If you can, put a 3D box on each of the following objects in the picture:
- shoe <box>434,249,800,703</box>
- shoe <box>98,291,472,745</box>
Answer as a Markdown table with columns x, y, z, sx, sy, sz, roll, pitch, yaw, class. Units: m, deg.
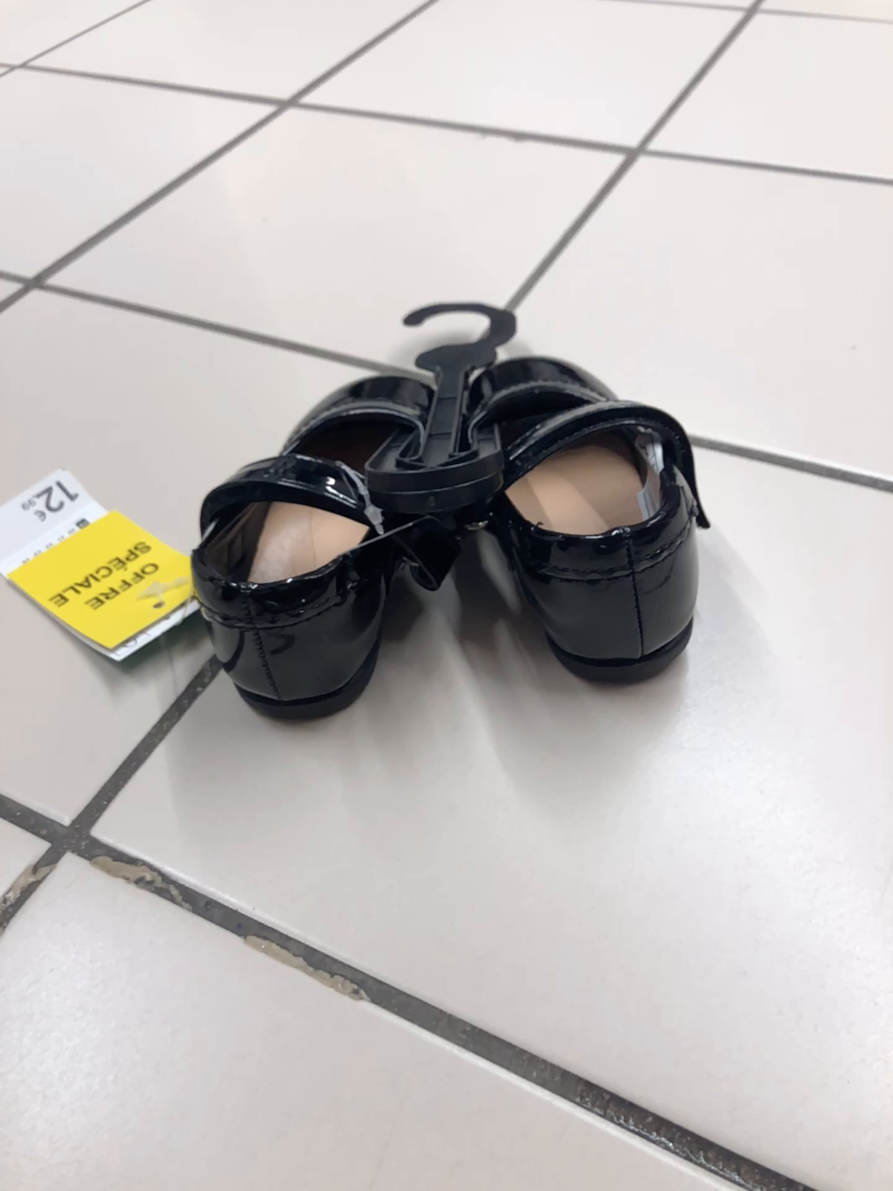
| x | y | z | sx | sy | sz | roll | pitch | yaw | class |
| --- | --- | --- | --- | --- | --- | --- | --- | --- | --- |
| 0.039 | -0.040 | 0.276 | 0.059 | 0.048 | 0.127 | -10 | 46 | -4 | shoe |
| -0.035 | -0.029 | 0.278 | 0.059 | 0.048 | 0.130 | 5 | 47 | 11 | shoe |
